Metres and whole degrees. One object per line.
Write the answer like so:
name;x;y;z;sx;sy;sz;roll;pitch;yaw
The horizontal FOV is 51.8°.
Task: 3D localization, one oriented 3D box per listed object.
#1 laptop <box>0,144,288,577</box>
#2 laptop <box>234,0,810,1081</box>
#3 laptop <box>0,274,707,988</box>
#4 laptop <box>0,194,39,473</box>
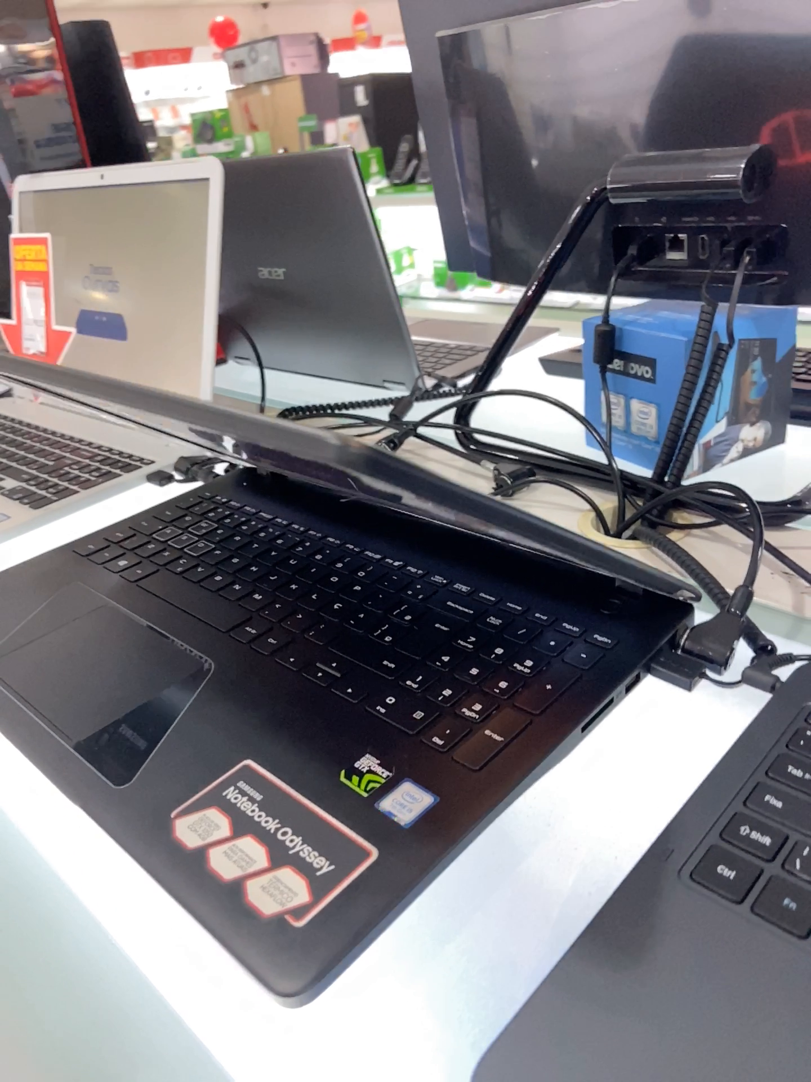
laptop;-0.395;-0.192;0.760;0.432;0.224;0.346;16;36;42
laptop;0.249;0.029;0.132;0.413;0.234;0.308;18;36;40
laptop;-0.087;-0.028;0.417;0.368;0.152;0.259;18;35;42
laptop;-0.737;-0.292;1.062;0.337;0.227;0.341;20;37;40
